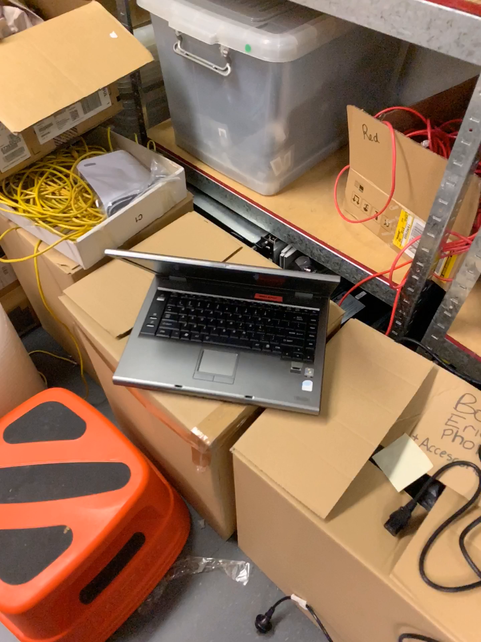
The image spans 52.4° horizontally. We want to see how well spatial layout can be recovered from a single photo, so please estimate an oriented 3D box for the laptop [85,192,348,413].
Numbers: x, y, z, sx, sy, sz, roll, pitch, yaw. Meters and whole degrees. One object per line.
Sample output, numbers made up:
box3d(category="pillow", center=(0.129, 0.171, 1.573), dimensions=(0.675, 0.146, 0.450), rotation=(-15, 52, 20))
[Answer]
box3d(category="laptop", center=(-0.022, -0.036, 0.814), dimensions=(0.352, 0.203, 0.254), rotation=(8, 51, 8))
